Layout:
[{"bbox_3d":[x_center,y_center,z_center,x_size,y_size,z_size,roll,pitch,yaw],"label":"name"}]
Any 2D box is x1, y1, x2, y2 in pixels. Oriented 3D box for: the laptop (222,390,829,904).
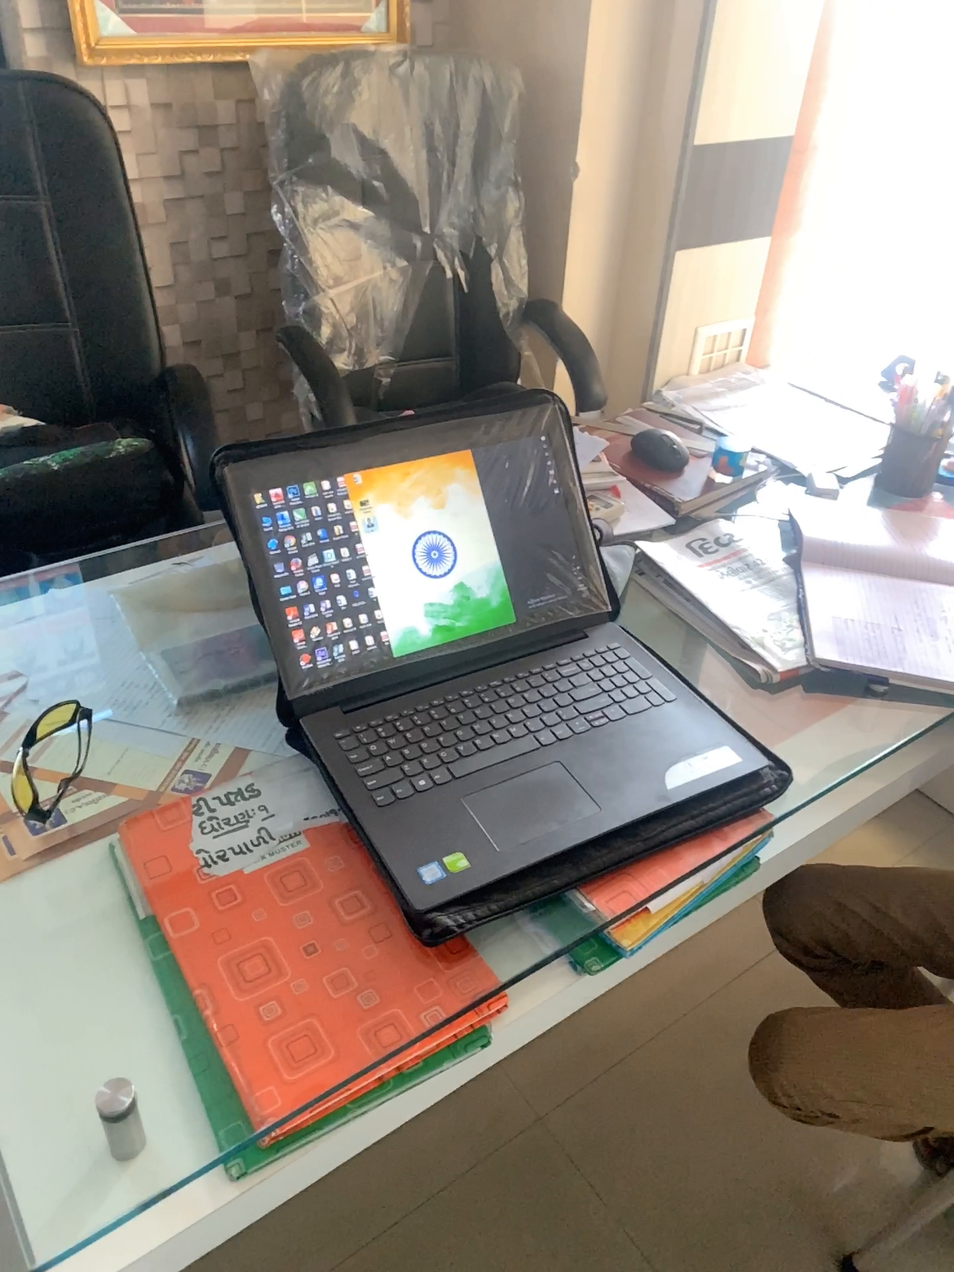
[{"bbox_3d":[0.013,-0.030,0.836,0.334,0.175,0.392,-16,41,-24],"label":"laptop"}]
